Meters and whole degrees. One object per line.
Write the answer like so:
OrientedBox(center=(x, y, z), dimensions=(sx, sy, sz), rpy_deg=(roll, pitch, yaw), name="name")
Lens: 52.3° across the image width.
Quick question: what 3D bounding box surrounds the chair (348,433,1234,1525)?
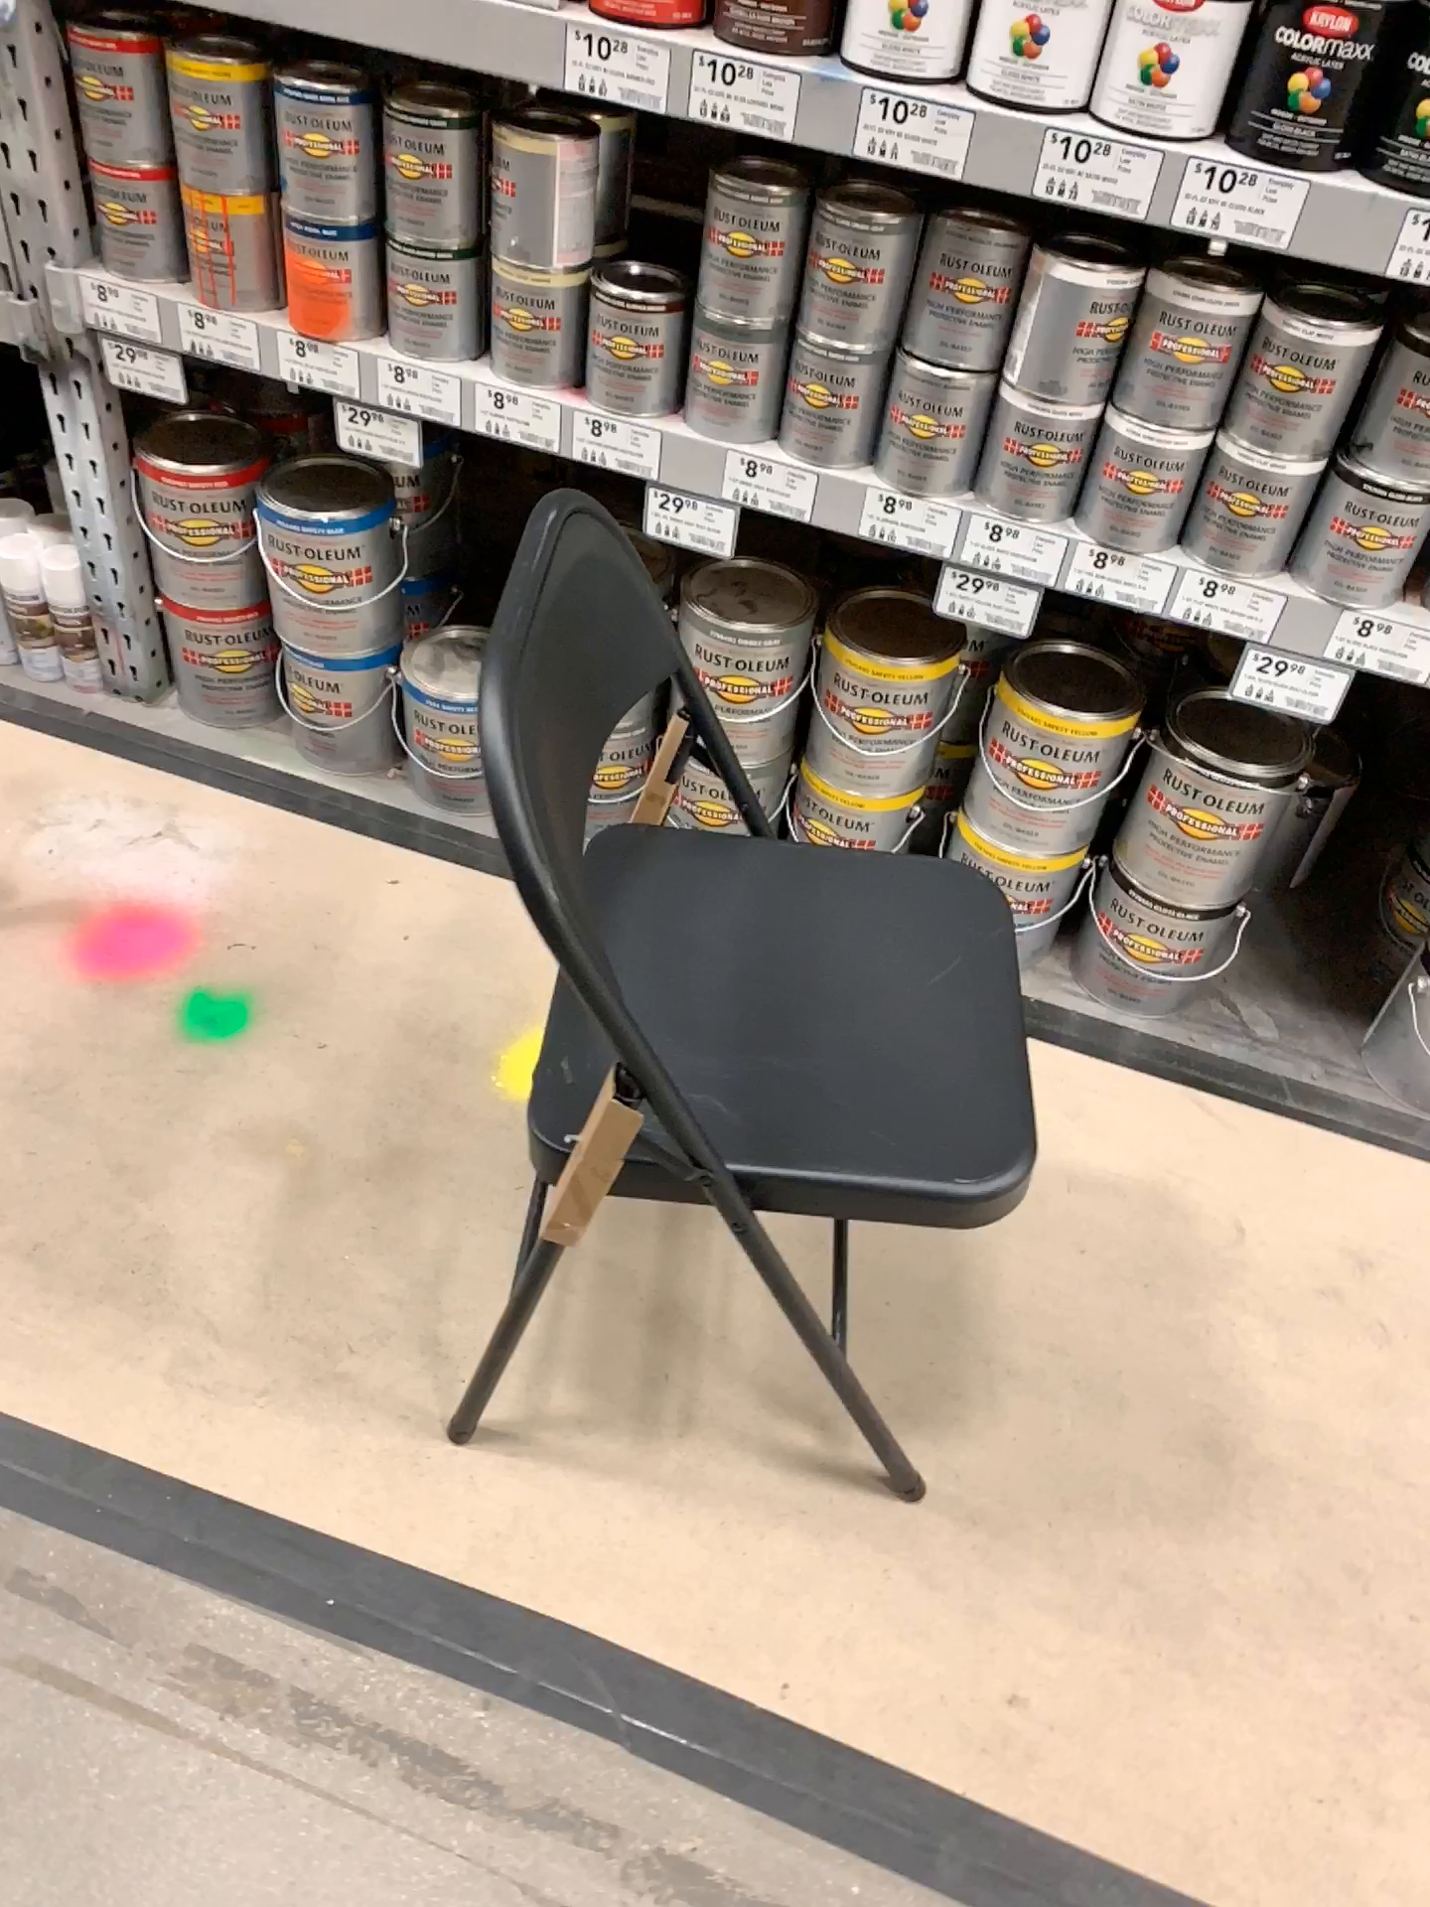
OrientedBox(center=(0.028, 0.051, 1.182), dimensions=(0.474, 0.713, 0.453), rpy_deg=(8, 44, 0), name="chair")
